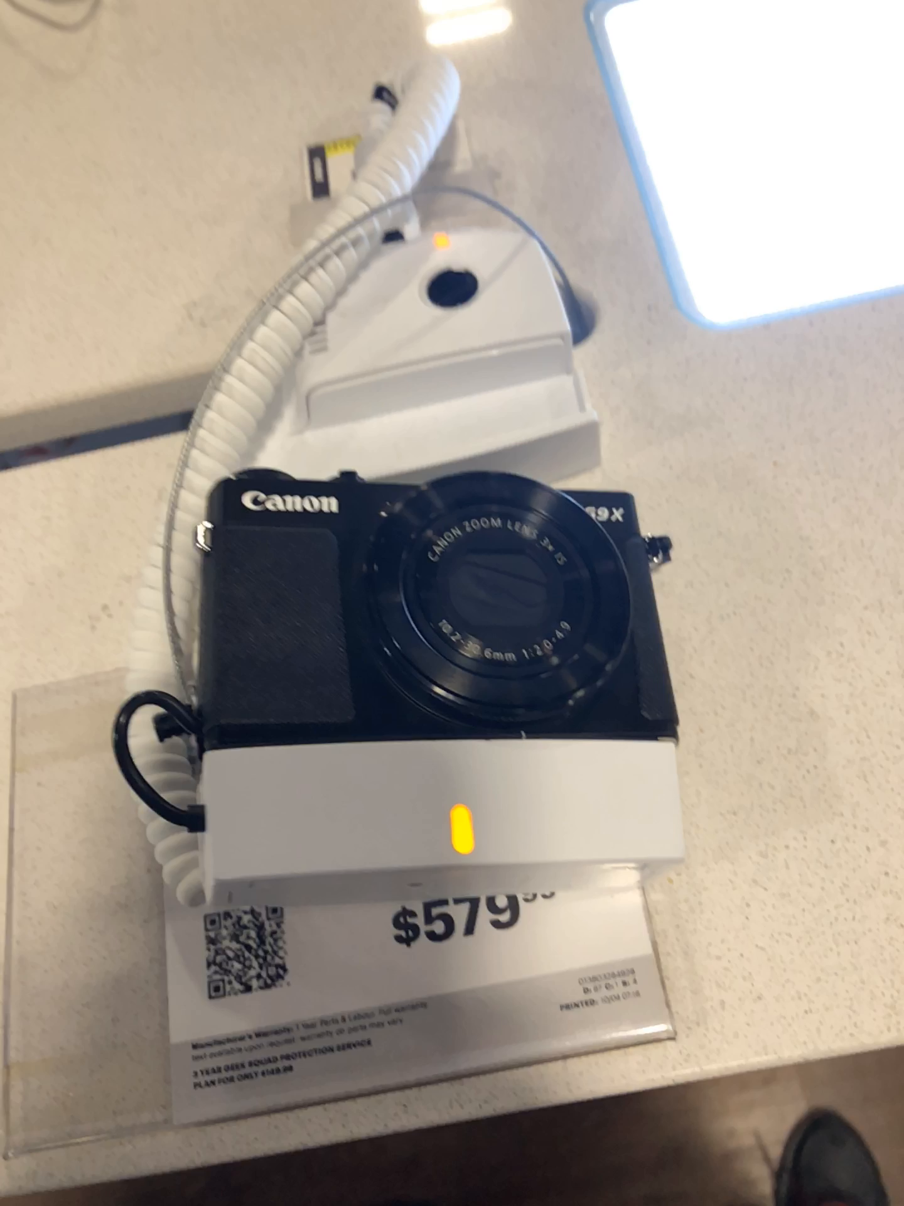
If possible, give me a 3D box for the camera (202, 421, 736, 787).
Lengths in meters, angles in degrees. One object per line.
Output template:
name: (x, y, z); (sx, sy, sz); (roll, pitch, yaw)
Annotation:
camera: (0.001, -0.001, 0.208); (0.100, 0.020, 0.070); (1, 62, -13)
